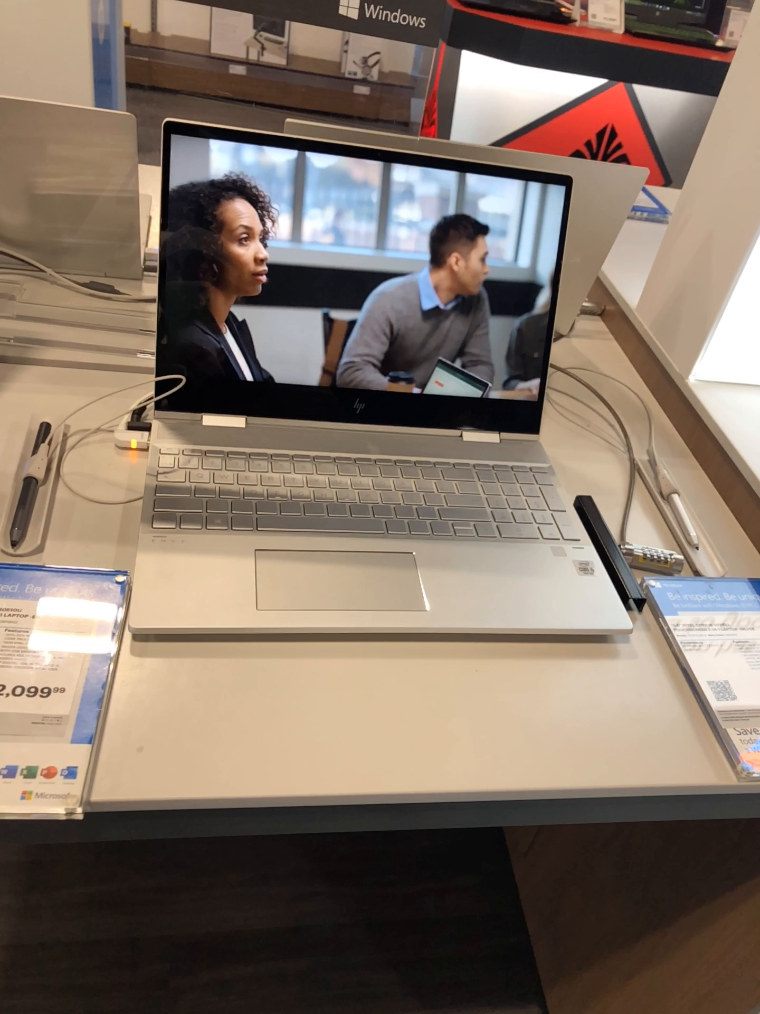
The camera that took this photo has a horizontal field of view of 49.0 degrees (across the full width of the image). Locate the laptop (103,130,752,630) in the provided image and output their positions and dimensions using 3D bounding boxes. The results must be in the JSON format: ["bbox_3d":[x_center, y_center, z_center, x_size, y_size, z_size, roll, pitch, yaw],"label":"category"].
[{"bbox_3d":[-0.001,-0.108,0.646,0.359,0.210,0.355,2,39,-12],"label":"laptop"}]
